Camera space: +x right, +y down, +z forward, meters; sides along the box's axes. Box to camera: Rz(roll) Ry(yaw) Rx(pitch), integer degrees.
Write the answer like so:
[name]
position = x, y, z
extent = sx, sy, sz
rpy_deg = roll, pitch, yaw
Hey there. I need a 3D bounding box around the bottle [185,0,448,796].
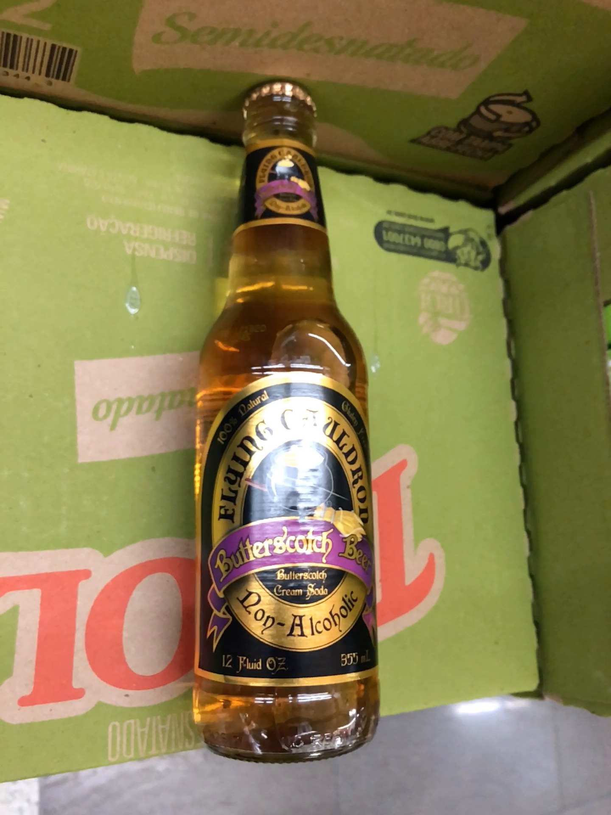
[bottle]
position = -0.002, -0.017, 0.246
extent = 0.070, 0.050, 0.260
rpy_deg = 3, 79, -27
